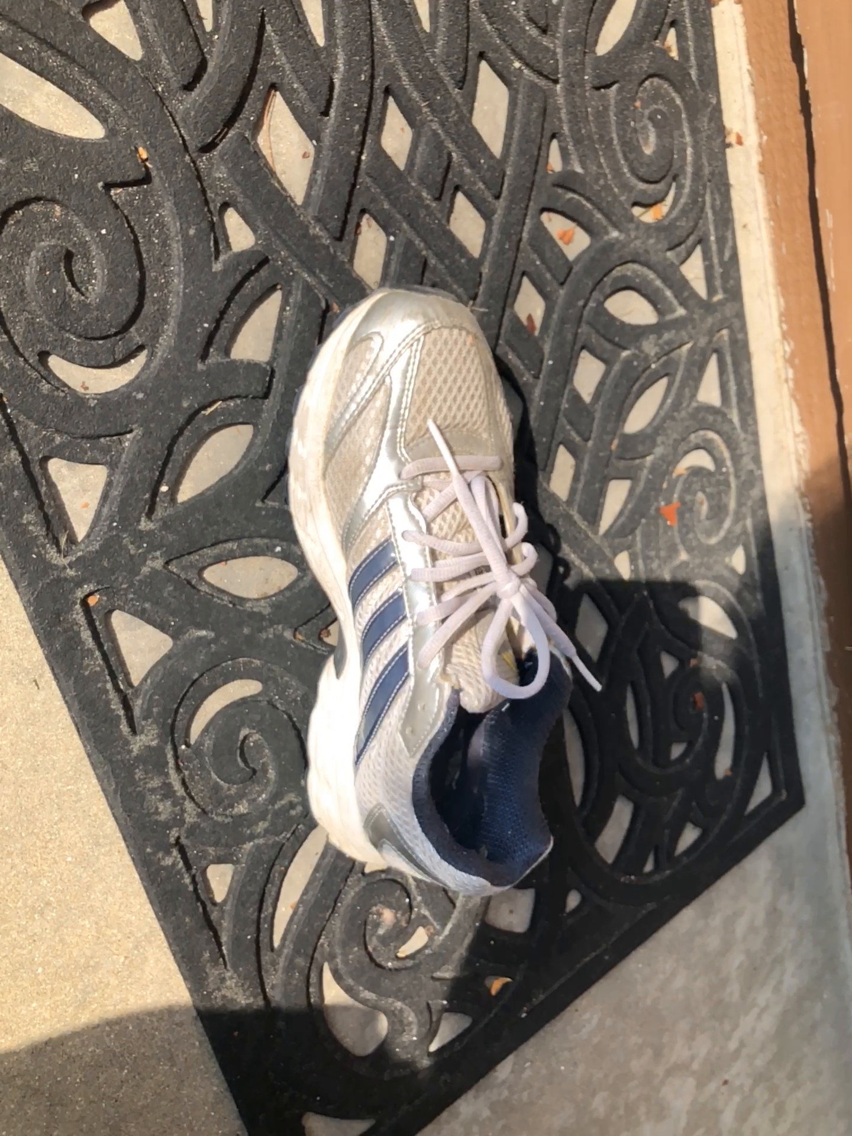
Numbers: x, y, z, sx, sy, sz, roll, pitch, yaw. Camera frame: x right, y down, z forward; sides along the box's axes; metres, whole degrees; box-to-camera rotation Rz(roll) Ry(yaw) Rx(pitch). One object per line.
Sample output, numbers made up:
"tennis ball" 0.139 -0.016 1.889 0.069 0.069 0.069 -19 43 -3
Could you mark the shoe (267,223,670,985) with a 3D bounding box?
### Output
"shoe" 0.013 0.007 0.397 0.100 0.129 0.260 -8 103 -34
